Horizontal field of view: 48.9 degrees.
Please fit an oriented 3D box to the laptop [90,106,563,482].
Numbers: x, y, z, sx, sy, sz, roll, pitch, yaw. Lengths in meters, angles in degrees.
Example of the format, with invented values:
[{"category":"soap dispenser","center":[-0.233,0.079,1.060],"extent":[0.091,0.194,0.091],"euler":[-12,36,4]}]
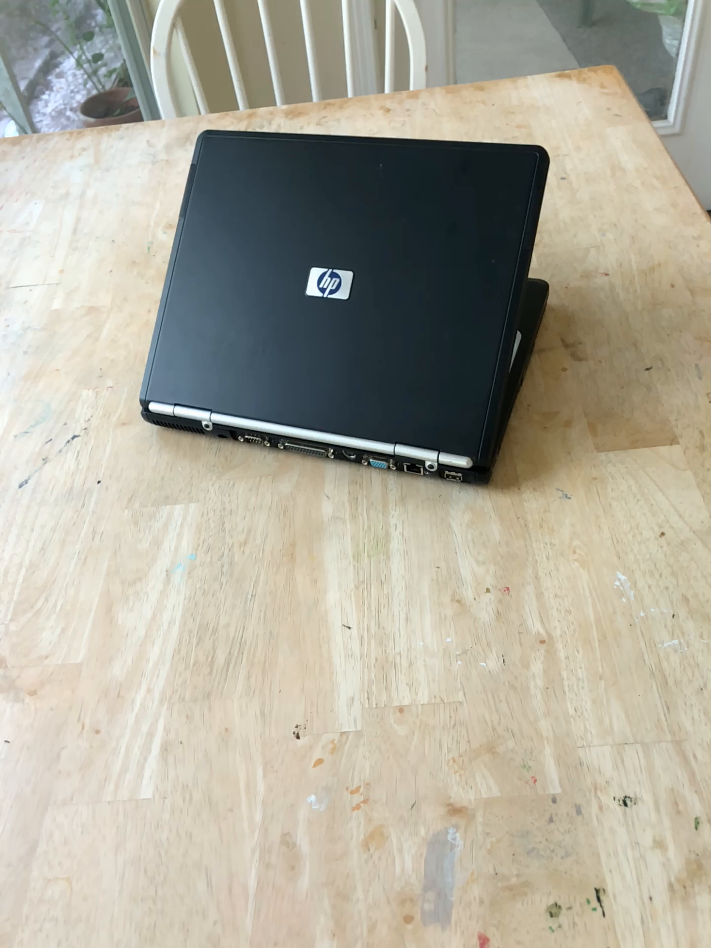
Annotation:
[{"category":"laptop","center":[-0.005,-0.171,0.678],"extent":[0.306,0.162,0.256],"euler":[11,52,17]}]
